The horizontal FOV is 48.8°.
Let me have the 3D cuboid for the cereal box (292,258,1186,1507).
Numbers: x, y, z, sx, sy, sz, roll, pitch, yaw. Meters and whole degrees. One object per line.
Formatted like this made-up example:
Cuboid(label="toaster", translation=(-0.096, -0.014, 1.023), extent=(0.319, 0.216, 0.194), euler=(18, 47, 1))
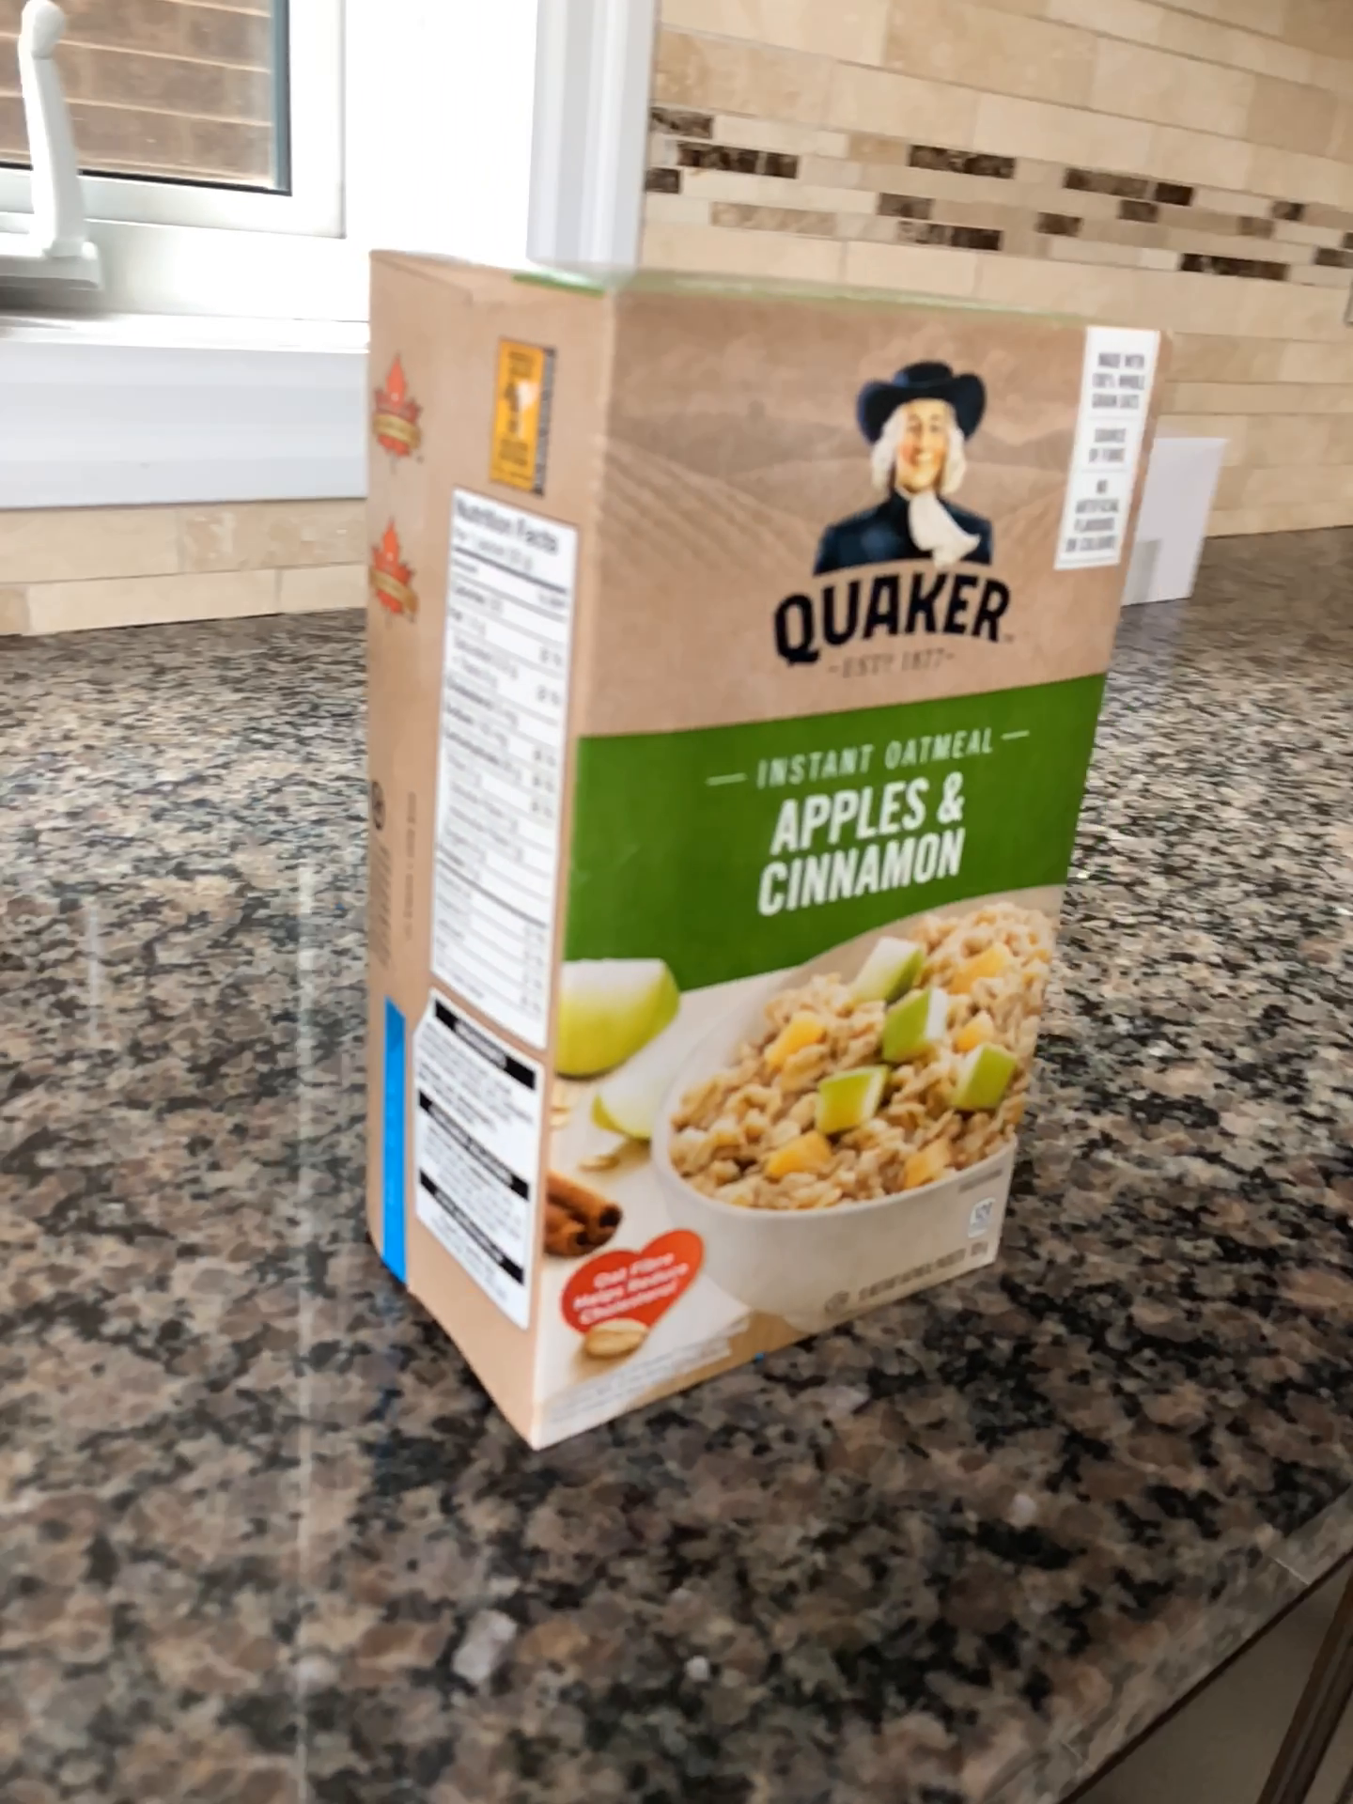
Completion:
Cuboid(label="cereal box", translation=(0.002, -0.010, 0.305), extent=(0.130, 0.209, 0.090), euler=(-11, 29, -33))
